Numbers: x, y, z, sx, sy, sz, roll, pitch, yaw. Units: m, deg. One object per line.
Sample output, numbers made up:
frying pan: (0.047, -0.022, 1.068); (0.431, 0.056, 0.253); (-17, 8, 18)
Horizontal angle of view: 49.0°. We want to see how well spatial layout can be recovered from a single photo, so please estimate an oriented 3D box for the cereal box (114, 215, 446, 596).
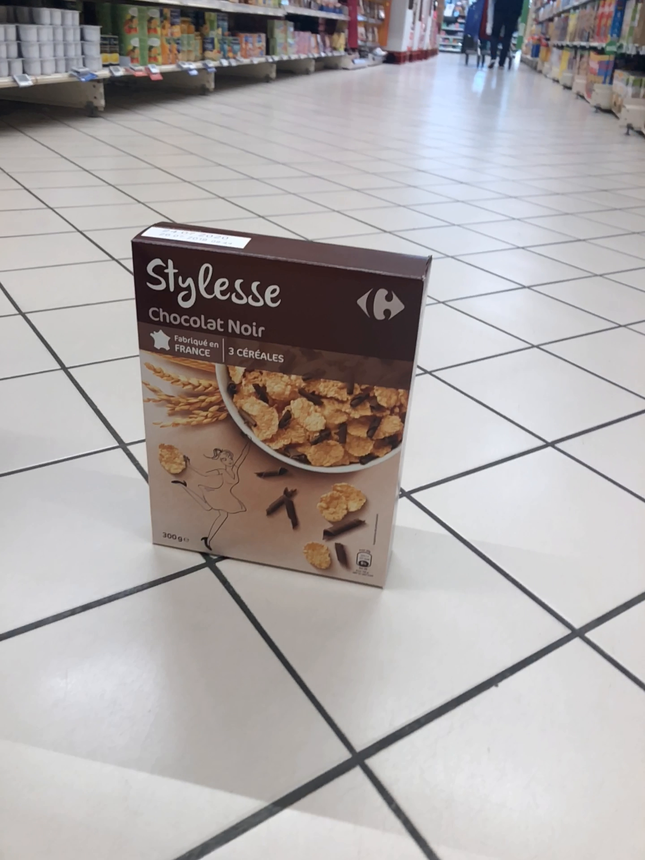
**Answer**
cereal box: (-0.031, -0.014, 0.510); (0.200, 0.239, 0.070); (9, 29, 9)
